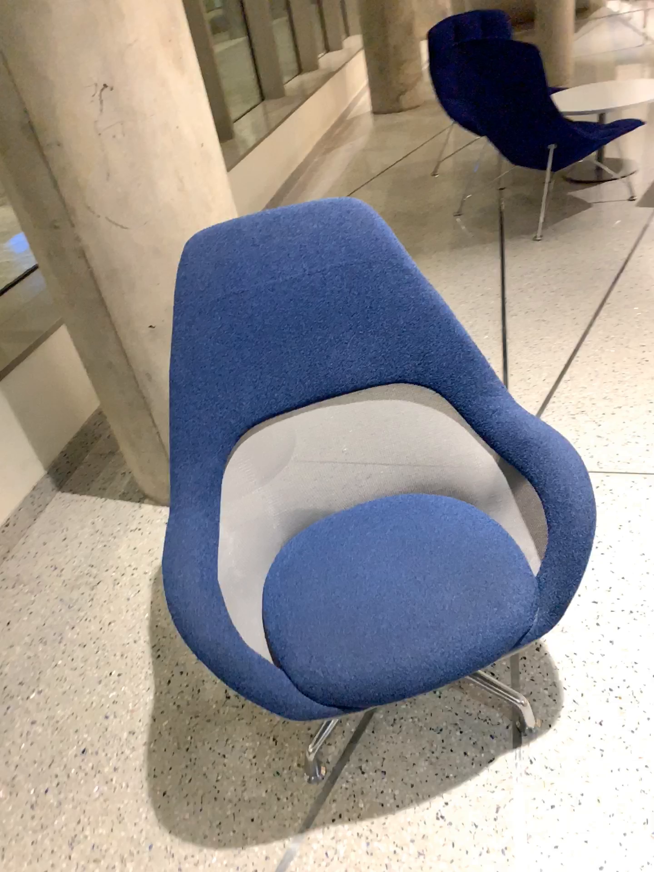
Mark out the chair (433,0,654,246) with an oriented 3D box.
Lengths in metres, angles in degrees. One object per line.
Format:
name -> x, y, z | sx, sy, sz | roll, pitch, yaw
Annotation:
chair -> 1.030, -1.509, 3.193 | 0.695, 0.853, 0.683 | -24, 35, -16

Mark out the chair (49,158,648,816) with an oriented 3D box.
chair -> 0.070, 0.099, 1.306 | 0.715, 0.961, 0.640 | -13, 34, -1
